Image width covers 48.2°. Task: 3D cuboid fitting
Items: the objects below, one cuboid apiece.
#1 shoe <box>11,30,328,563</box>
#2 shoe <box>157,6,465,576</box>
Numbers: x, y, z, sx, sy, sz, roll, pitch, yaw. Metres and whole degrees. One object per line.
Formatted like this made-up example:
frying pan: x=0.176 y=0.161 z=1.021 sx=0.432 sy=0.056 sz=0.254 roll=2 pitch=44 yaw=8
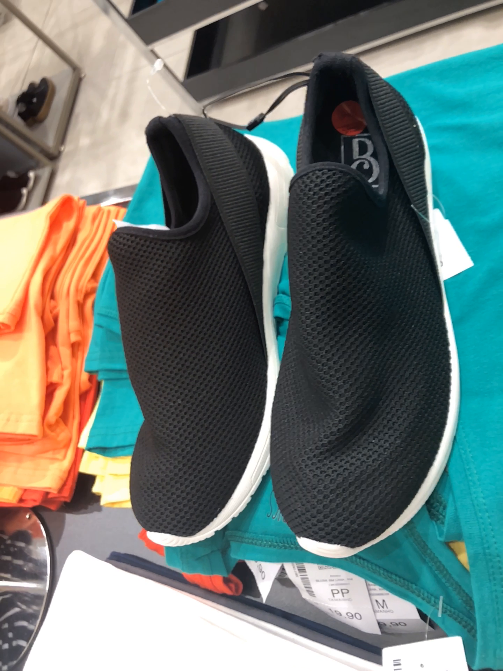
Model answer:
shoe: x=-0.031 y=-0.015 z=0.327 sx=0.090 sy=0.119 sz=0.260 roll=-4 pitch=70 yaw=32
shoe: x=0.048 y=-0.015 z=0.288 sx=0.090 sy=0.119 sz=0.240 roll=-4 pitch=67 yaw=32
